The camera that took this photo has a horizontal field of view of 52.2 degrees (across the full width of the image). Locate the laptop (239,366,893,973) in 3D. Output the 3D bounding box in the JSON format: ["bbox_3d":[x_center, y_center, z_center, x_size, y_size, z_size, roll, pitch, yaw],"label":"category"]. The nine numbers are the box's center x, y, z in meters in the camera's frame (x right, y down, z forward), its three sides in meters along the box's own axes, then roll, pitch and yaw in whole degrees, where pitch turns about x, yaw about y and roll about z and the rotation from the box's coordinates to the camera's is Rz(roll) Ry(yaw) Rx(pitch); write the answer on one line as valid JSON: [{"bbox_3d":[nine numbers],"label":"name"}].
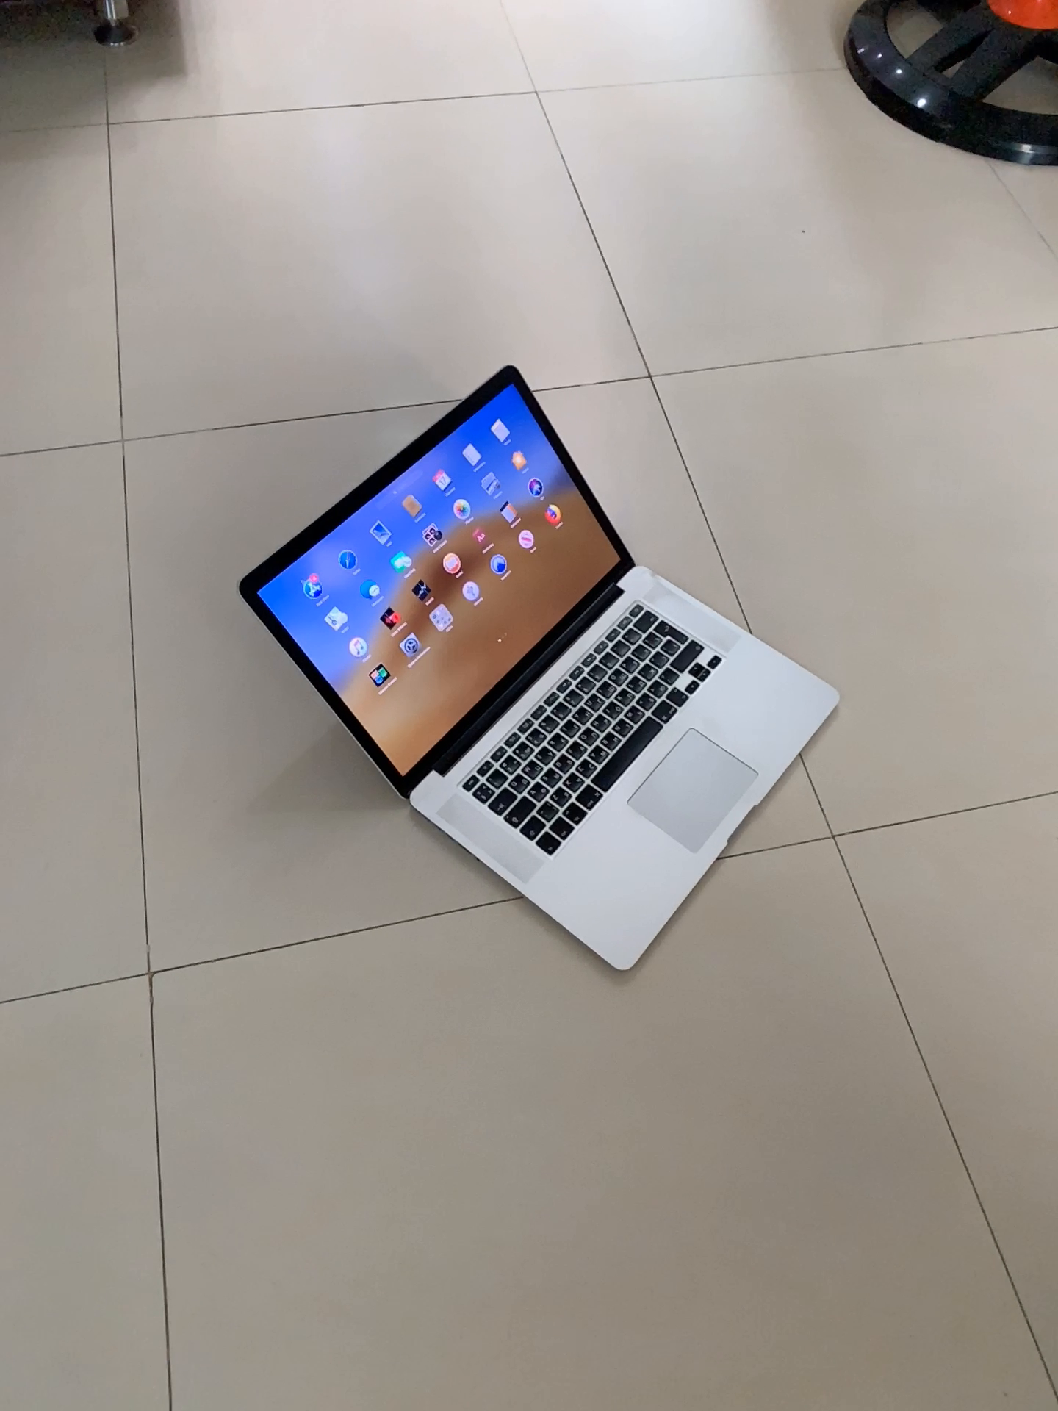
[{"bbox_3d":[0.032,-0.052,0.958,0.415,0.162,0.353,35,62,17],"label":"laptop"}]
